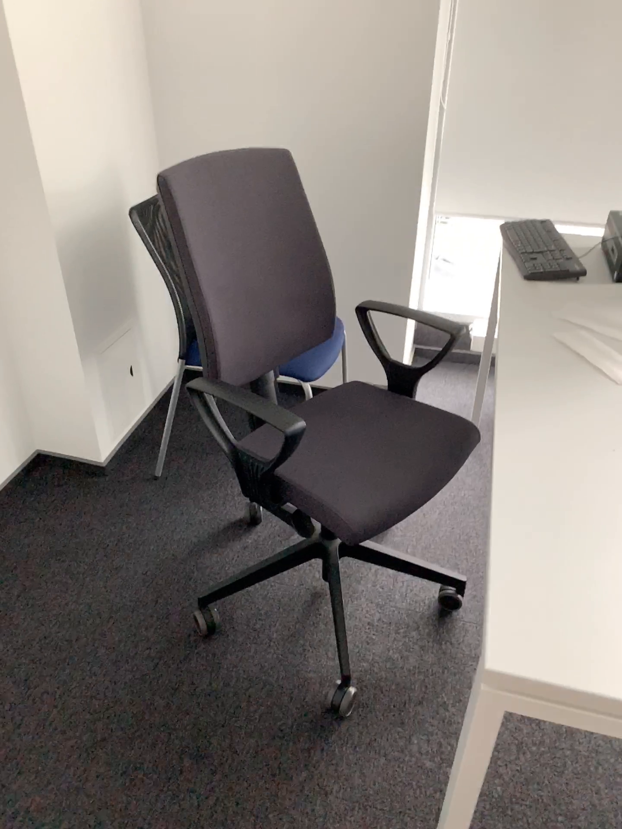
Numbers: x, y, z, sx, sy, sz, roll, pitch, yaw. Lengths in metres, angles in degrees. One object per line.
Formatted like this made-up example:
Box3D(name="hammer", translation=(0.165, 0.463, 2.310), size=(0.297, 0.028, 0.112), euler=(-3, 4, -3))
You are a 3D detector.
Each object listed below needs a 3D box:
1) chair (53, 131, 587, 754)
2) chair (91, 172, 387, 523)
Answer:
Box3D(name="chair", translation=(0.028, -0.004, 1.413), size=(0.681, 1.004, 0.693), euler=(25, 40, 32))
Box3D(name="chair", translation=(-0.163, -0.248, 1.998), size=(0.610, 0.805, 0.674), euler=(11, 34, 15))
